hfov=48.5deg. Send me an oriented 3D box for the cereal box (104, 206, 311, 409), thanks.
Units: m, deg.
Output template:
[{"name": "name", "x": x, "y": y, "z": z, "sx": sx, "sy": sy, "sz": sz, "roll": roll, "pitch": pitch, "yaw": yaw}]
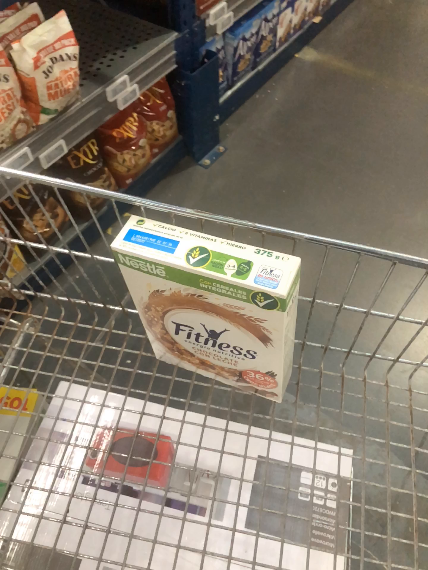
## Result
[{"name": "cereal box", "x": 0.001, "y": 0.040, "z": 0.578, "sx": 0.200, "sy": 0.259, "sz": 0.060, "roll": 16, "pitch": 57, "yaw": 17}]
